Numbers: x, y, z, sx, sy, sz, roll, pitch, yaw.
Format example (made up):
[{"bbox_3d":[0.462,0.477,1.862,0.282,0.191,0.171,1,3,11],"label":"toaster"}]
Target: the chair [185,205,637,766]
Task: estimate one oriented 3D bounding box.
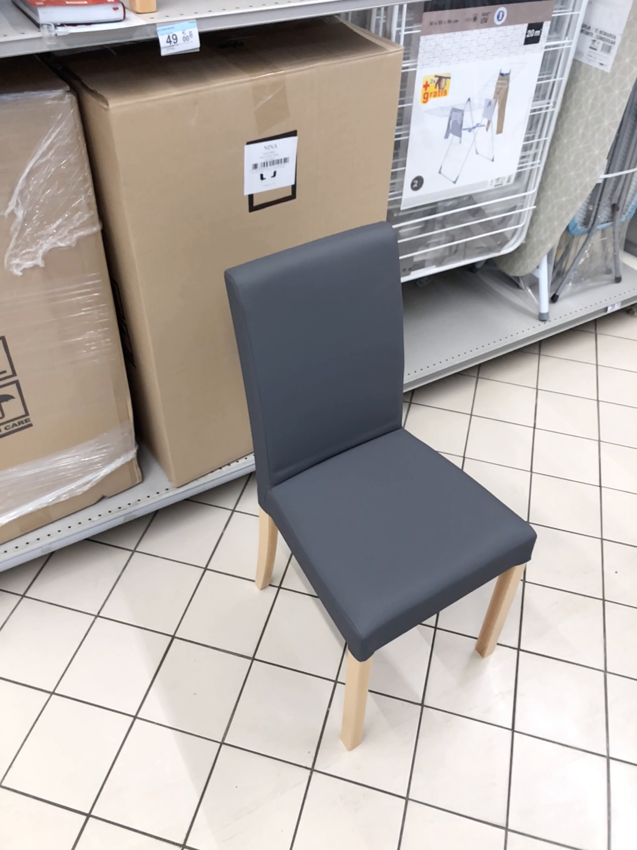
[{"bbox_3d":[0.121,0.124,1.374,0.472,0.825,0.571,-23,49,-24],"label":"chair"}]
